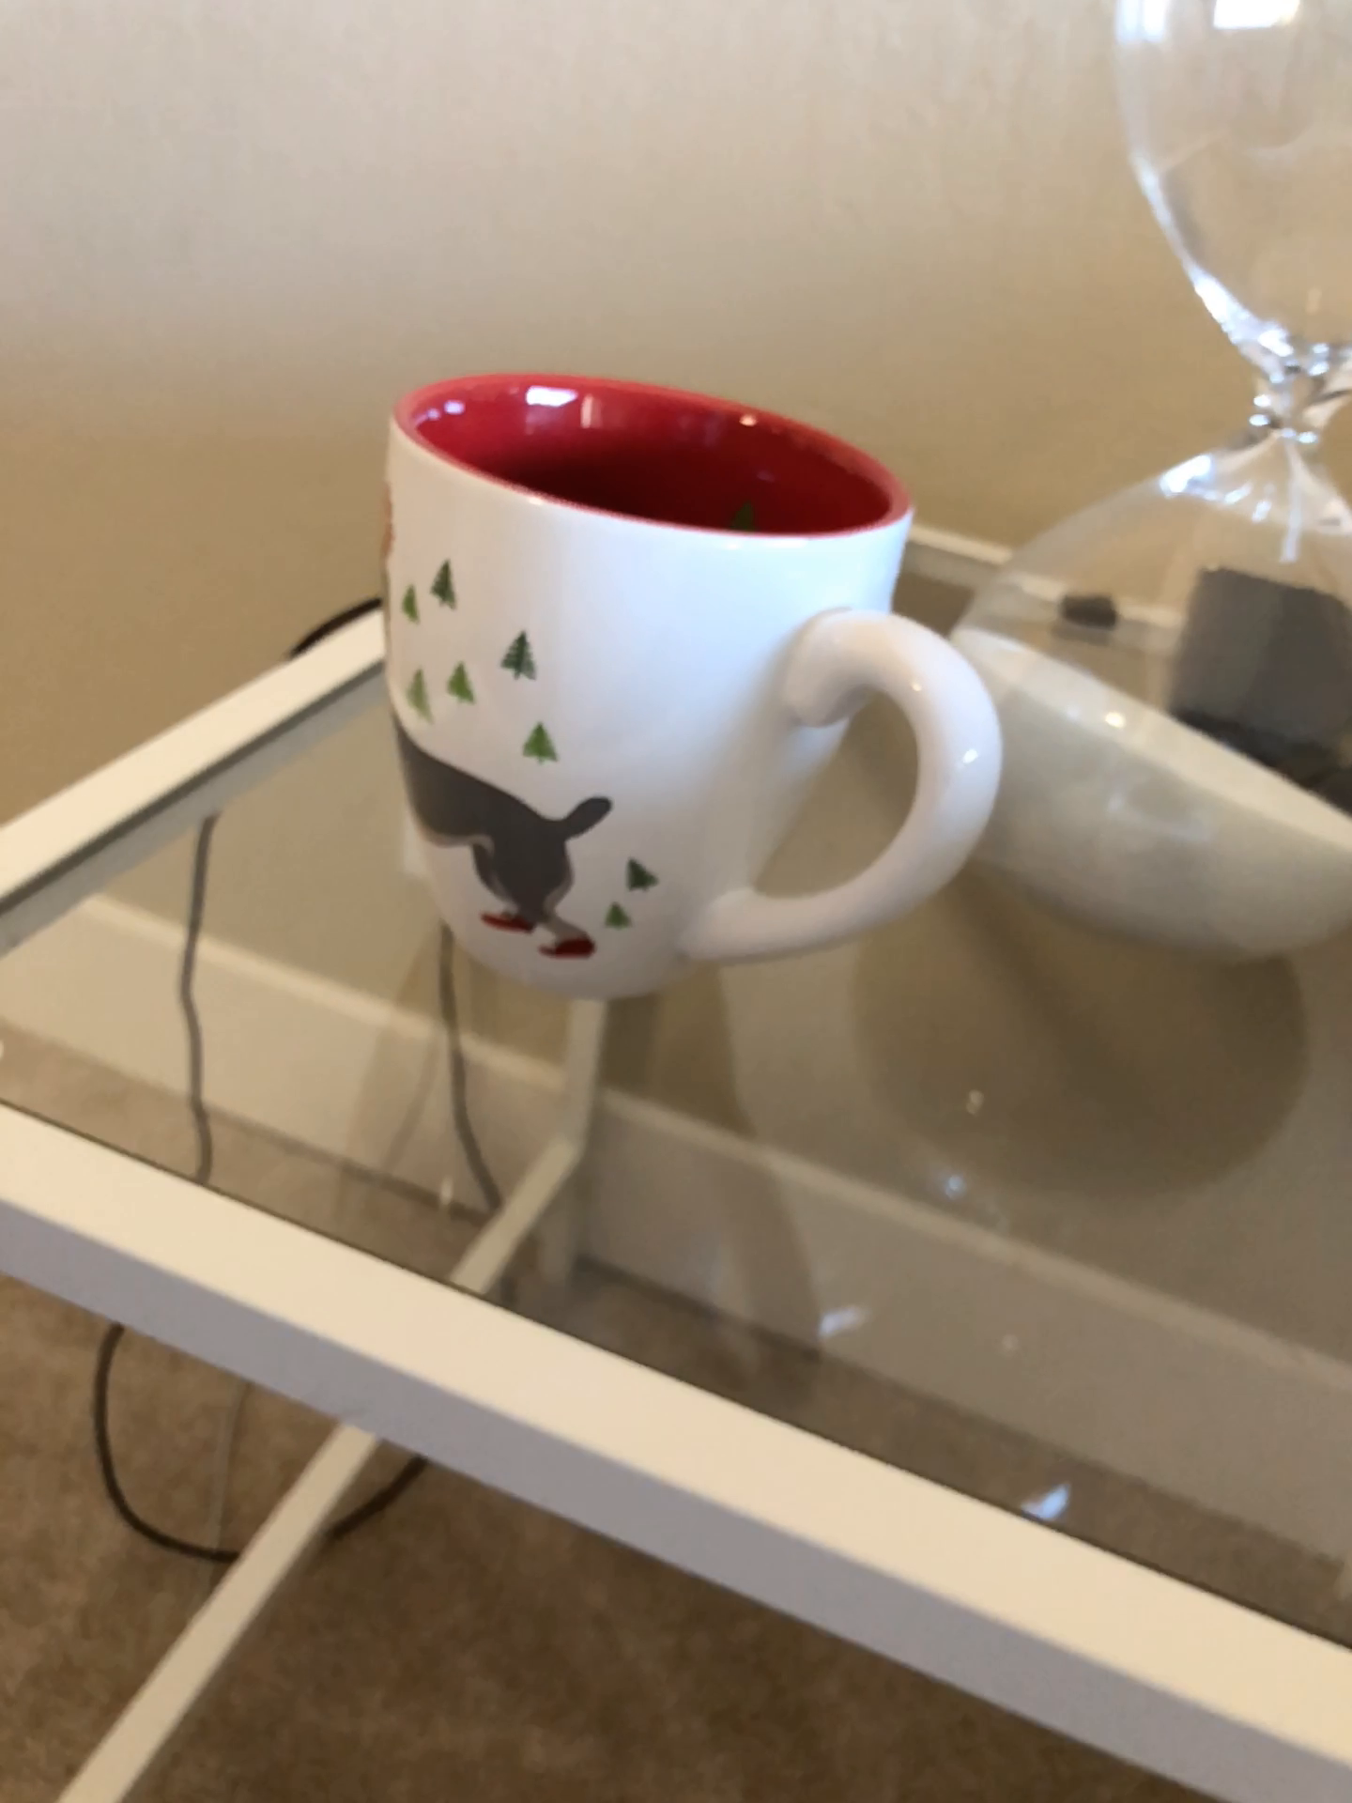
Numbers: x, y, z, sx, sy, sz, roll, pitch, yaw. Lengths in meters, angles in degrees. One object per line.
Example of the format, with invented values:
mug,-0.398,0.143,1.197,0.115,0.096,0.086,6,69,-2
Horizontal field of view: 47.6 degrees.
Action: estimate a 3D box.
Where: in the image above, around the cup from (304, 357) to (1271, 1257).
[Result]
cup,0.011,-0.033,0.311,0.100,0.109,0.150,-19,41,-41
